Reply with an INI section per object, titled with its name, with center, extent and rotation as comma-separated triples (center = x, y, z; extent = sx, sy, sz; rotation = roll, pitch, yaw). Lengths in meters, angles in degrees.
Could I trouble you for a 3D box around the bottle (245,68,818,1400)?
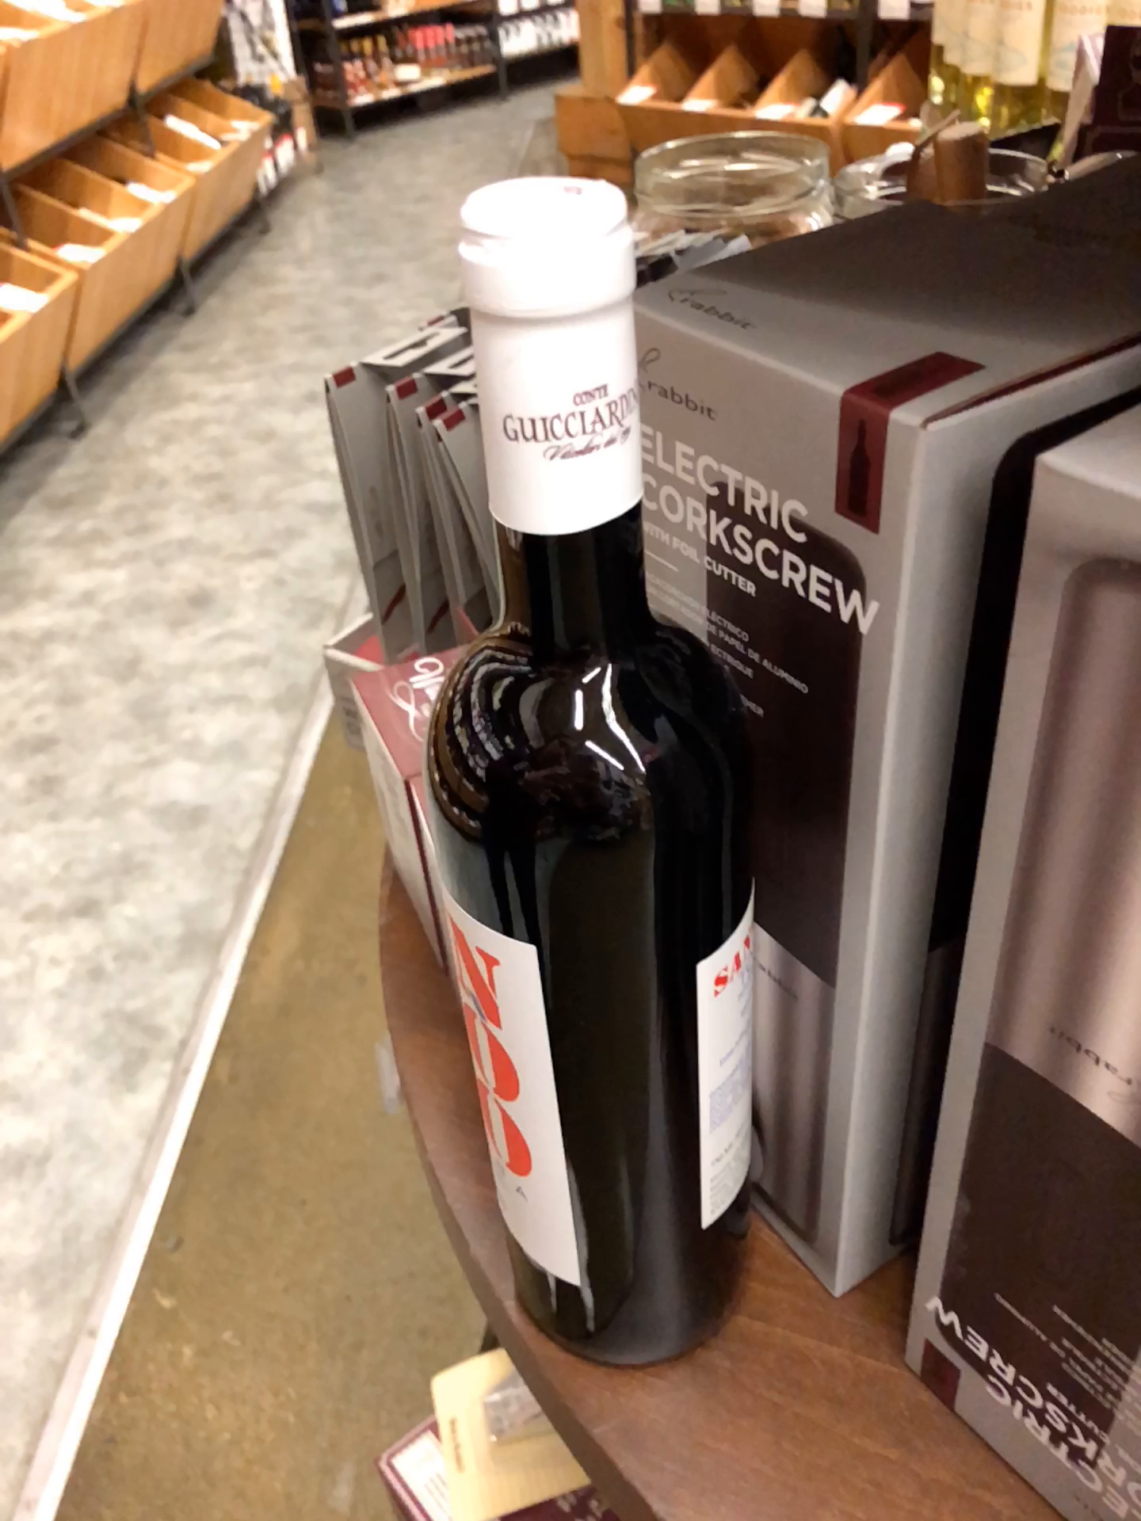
[bottle]
center = 0.003, 0.022, 0.297
extent = 0.080, 0.309, 0.083
rotation = -4, 36, 3
